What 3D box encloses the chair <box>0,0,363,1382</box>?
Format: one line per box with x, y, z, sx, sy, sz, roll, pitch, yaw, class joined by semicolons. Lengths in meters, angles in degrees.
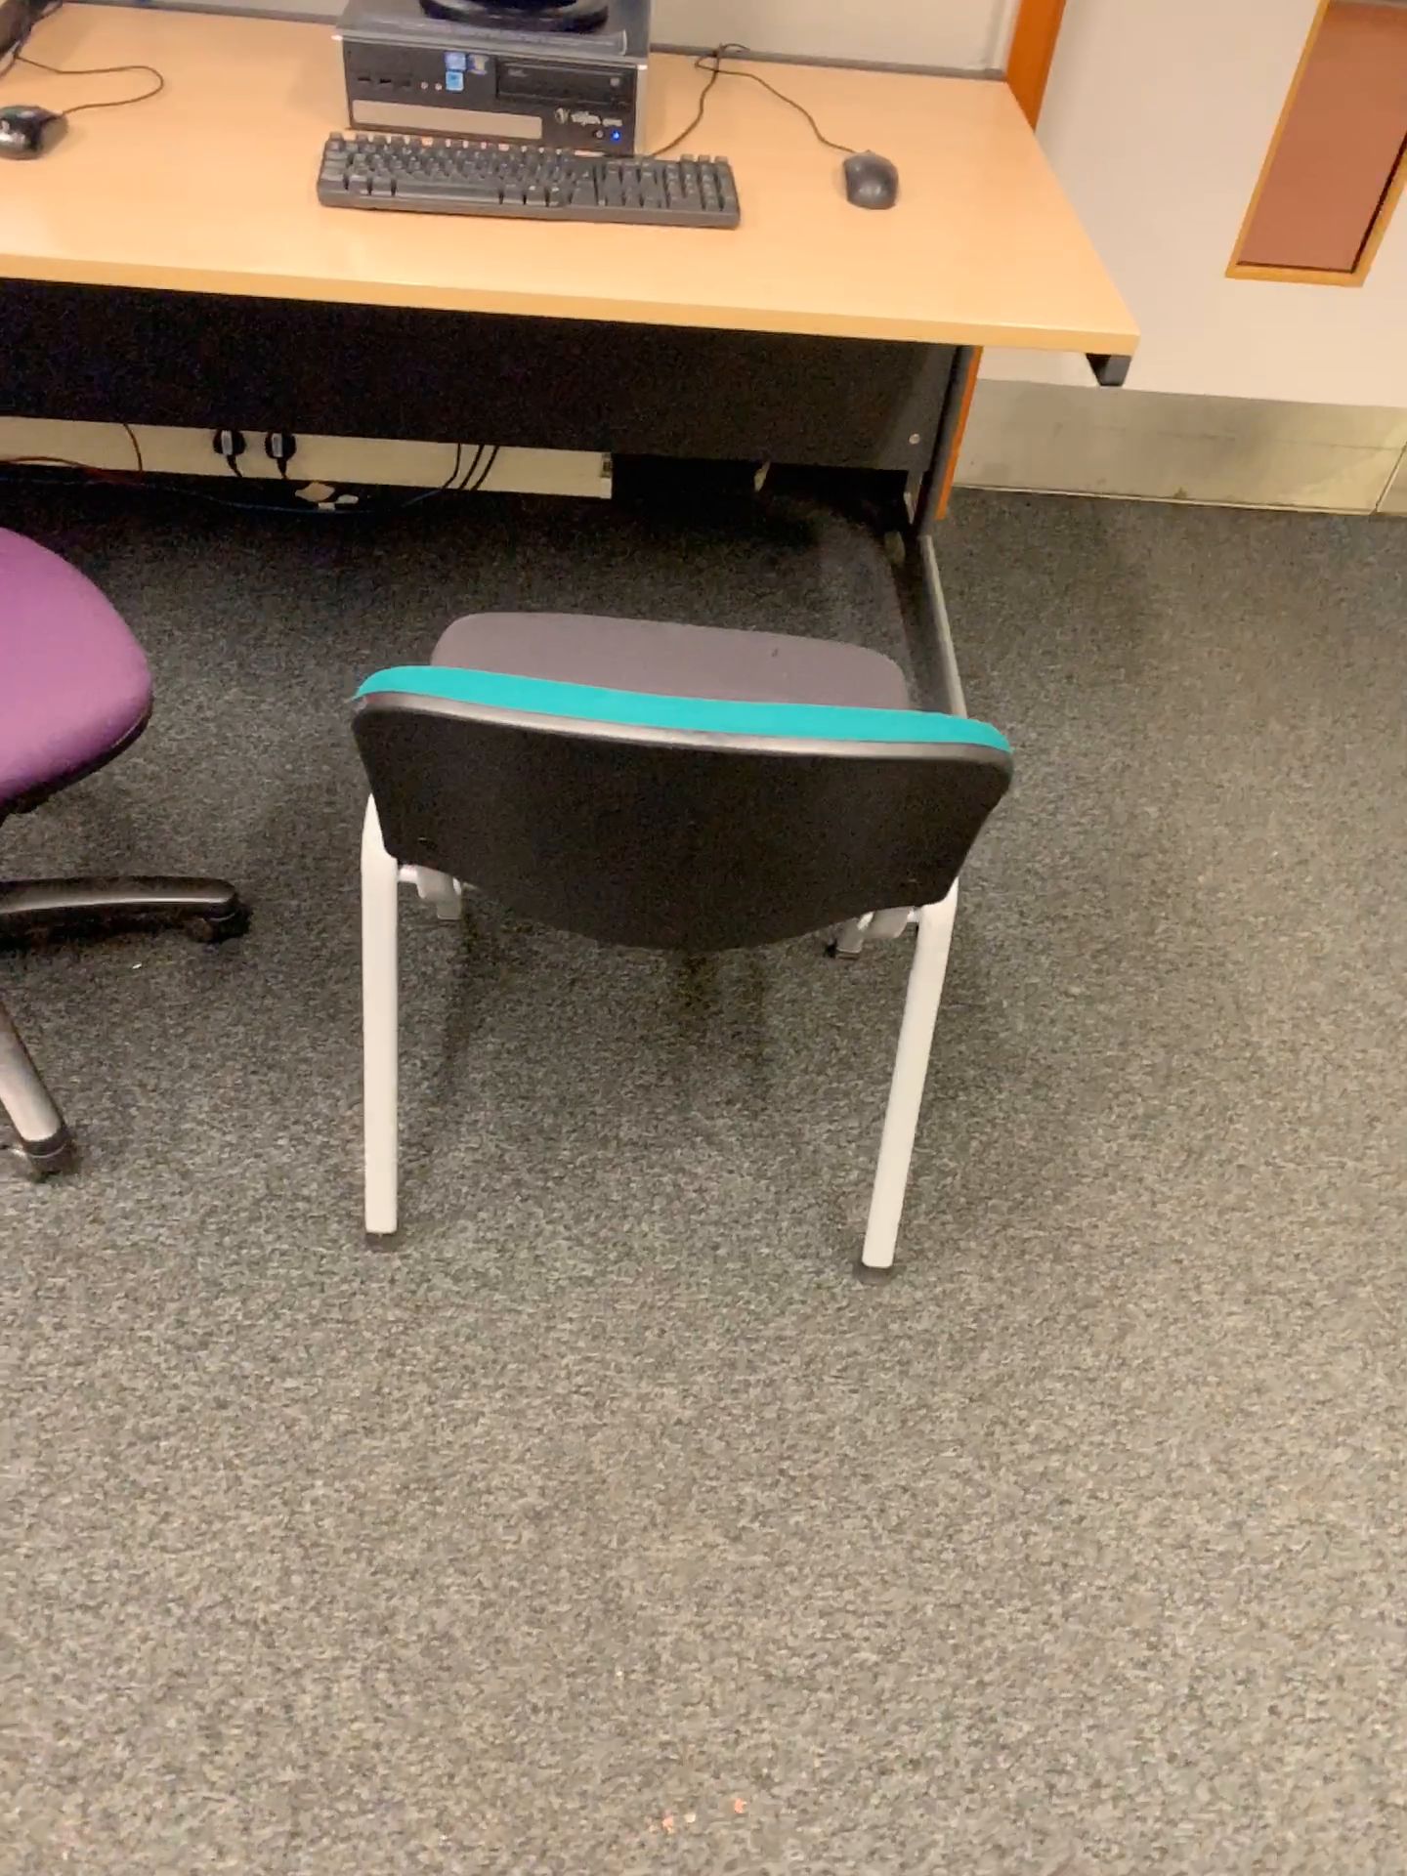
-0.806;-0.252;1.254;0.671;0.860;0.655;38;53;26;chair

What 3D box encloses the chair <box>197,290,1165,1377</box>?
-0.042;-0.067;1.278;0.552;0.721;0.604;3;46;-4;chair
